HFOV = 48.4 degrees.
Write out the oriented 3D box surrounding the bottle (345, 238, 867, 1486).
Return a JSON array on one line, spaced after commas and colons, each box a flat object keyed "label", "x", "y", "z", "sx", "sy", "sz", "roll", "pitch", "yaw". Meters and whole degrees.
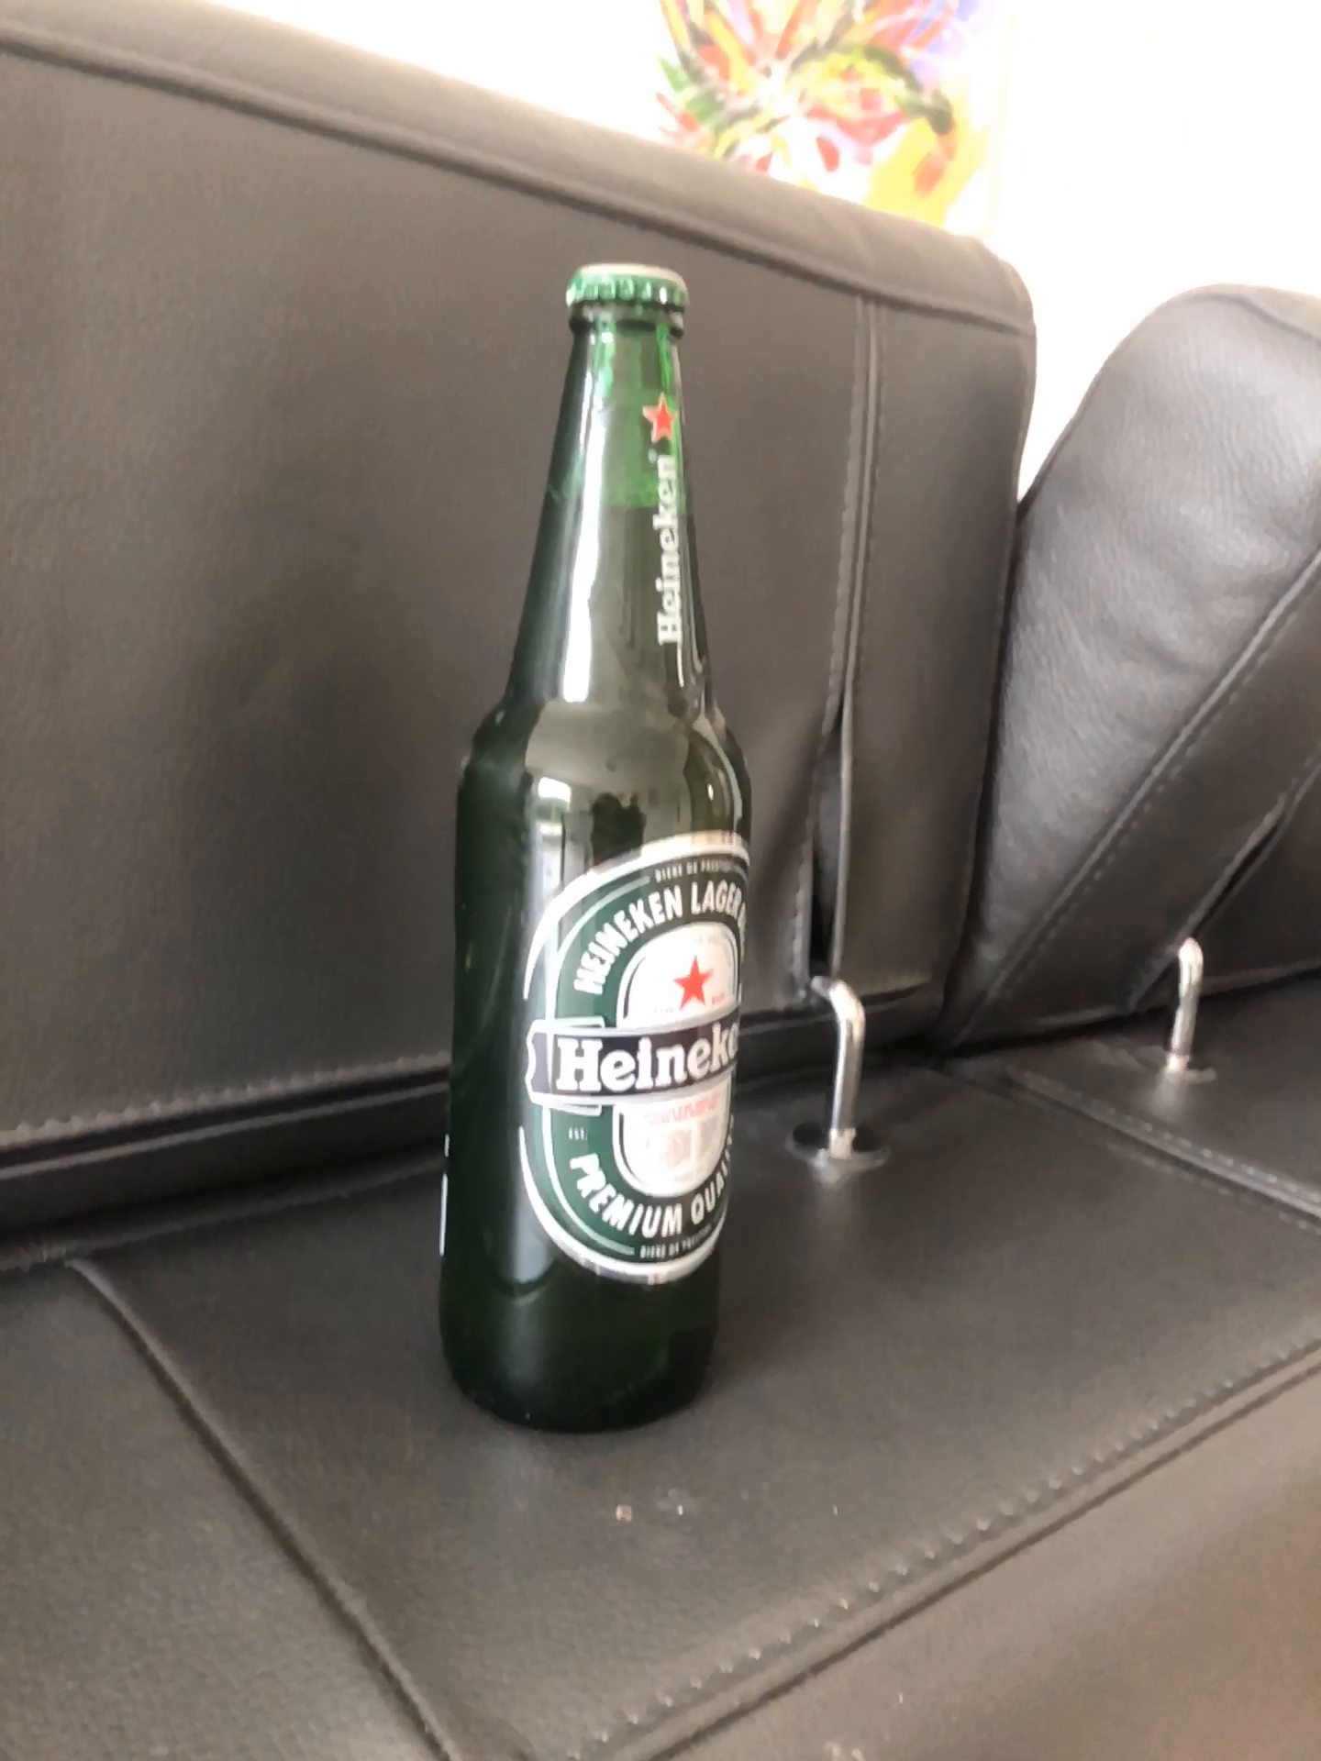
[{"label": "bottle", "x": -0.019, "y": -0.004, "z": 0.366, "sx": 0.080, "sy": 0.269, "sz": 0.080, "roll": 4, "pitch": 11, "yaw": -1}]
